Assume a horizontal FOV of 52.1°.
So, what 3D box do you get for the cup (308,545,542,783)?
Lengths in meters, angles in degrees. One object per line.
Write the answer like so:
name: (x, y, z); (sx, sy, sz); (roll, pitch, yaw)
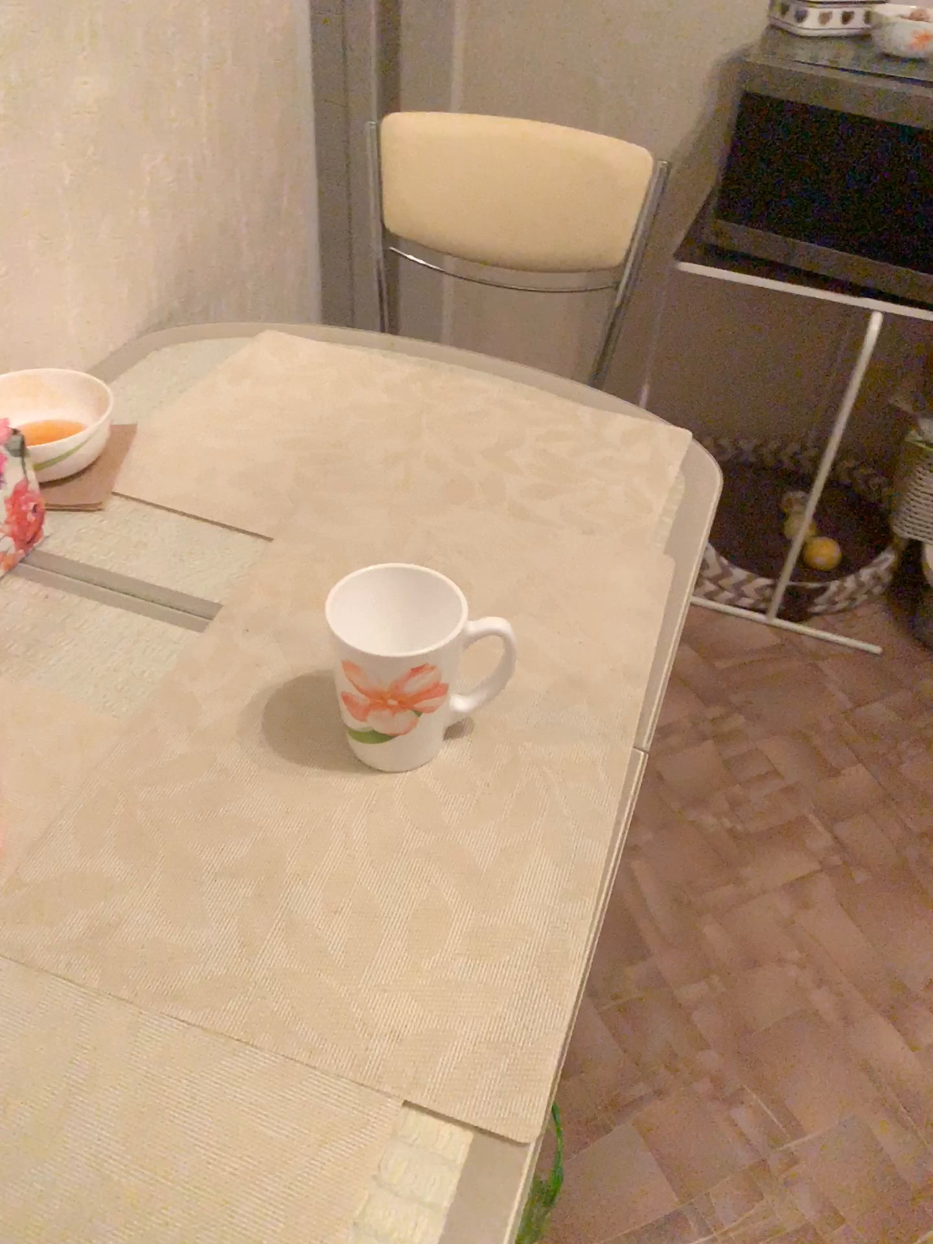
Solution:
cup: (-0.027, 0.024, 0.546); (0.118, 0.099, 0.084); (-3, 43, -7)
